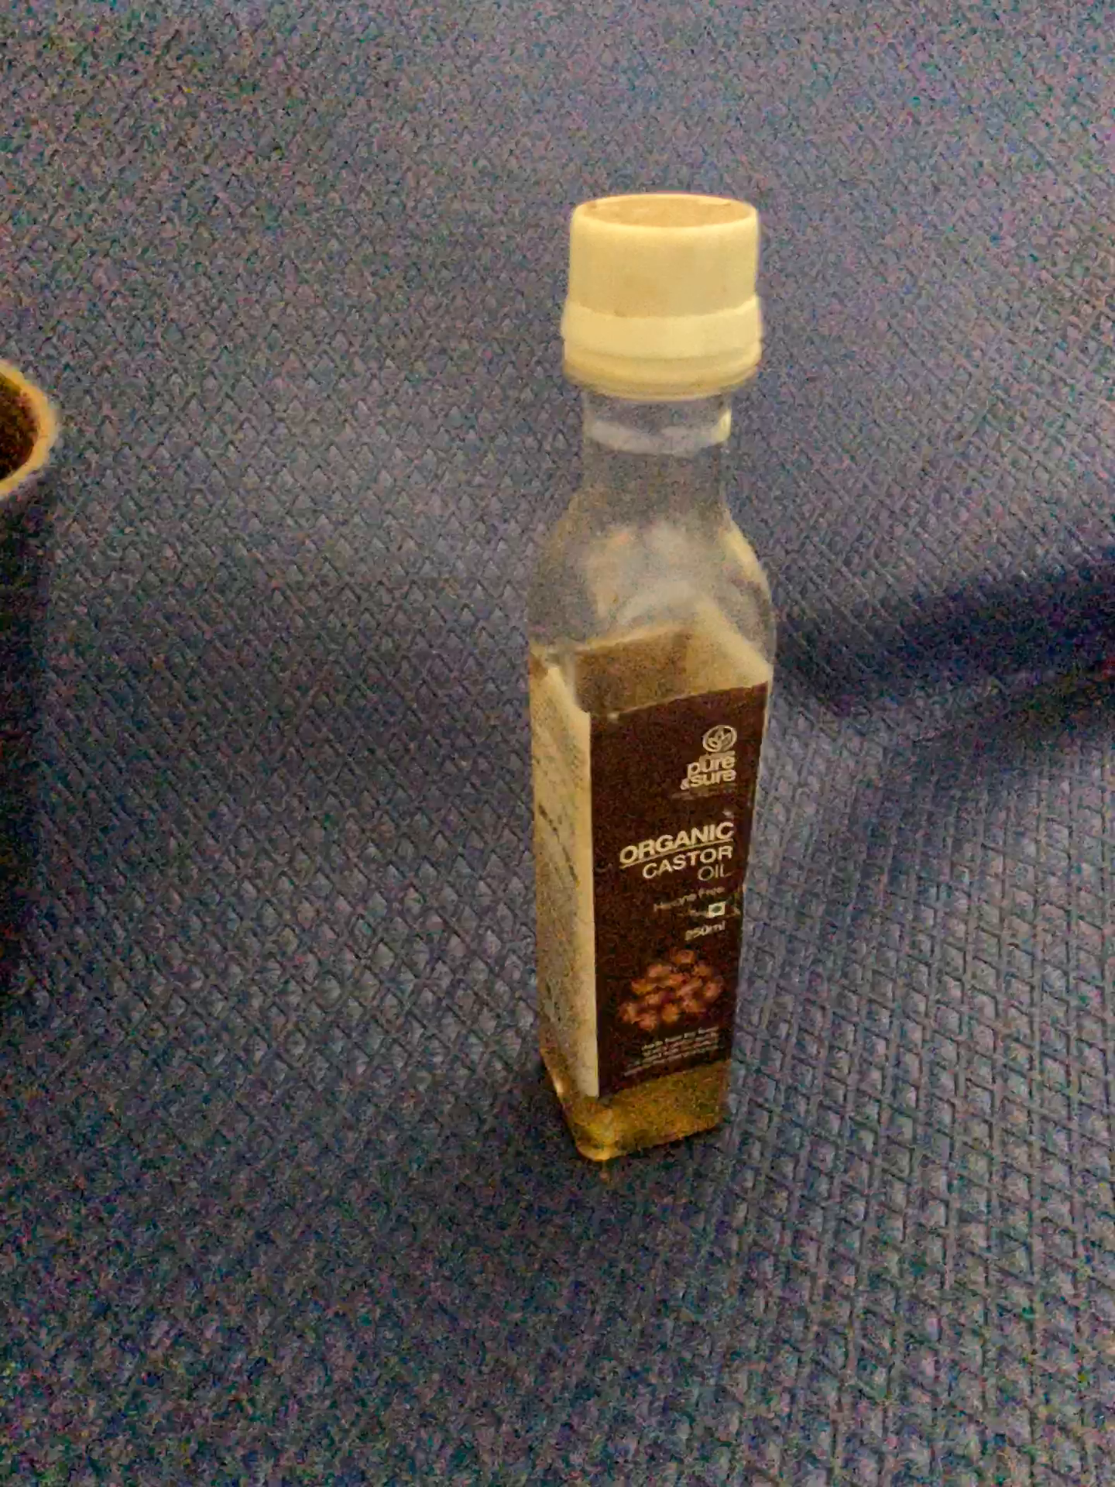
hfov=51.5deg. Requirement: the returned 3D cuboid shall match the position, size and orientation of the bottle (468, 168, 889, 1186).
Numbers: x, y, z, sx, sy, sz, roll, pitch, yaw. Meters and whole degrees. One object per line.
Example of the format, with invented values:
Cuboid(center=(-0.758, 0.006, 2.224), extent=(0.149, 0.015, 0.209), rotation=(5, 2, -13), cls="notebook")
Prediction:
Cuboid(center=(0.019, -0.002, 0.235), extent=(0.050, 0.198, 0.050), rotation=(-1, 32, 1), cls="bottle")
